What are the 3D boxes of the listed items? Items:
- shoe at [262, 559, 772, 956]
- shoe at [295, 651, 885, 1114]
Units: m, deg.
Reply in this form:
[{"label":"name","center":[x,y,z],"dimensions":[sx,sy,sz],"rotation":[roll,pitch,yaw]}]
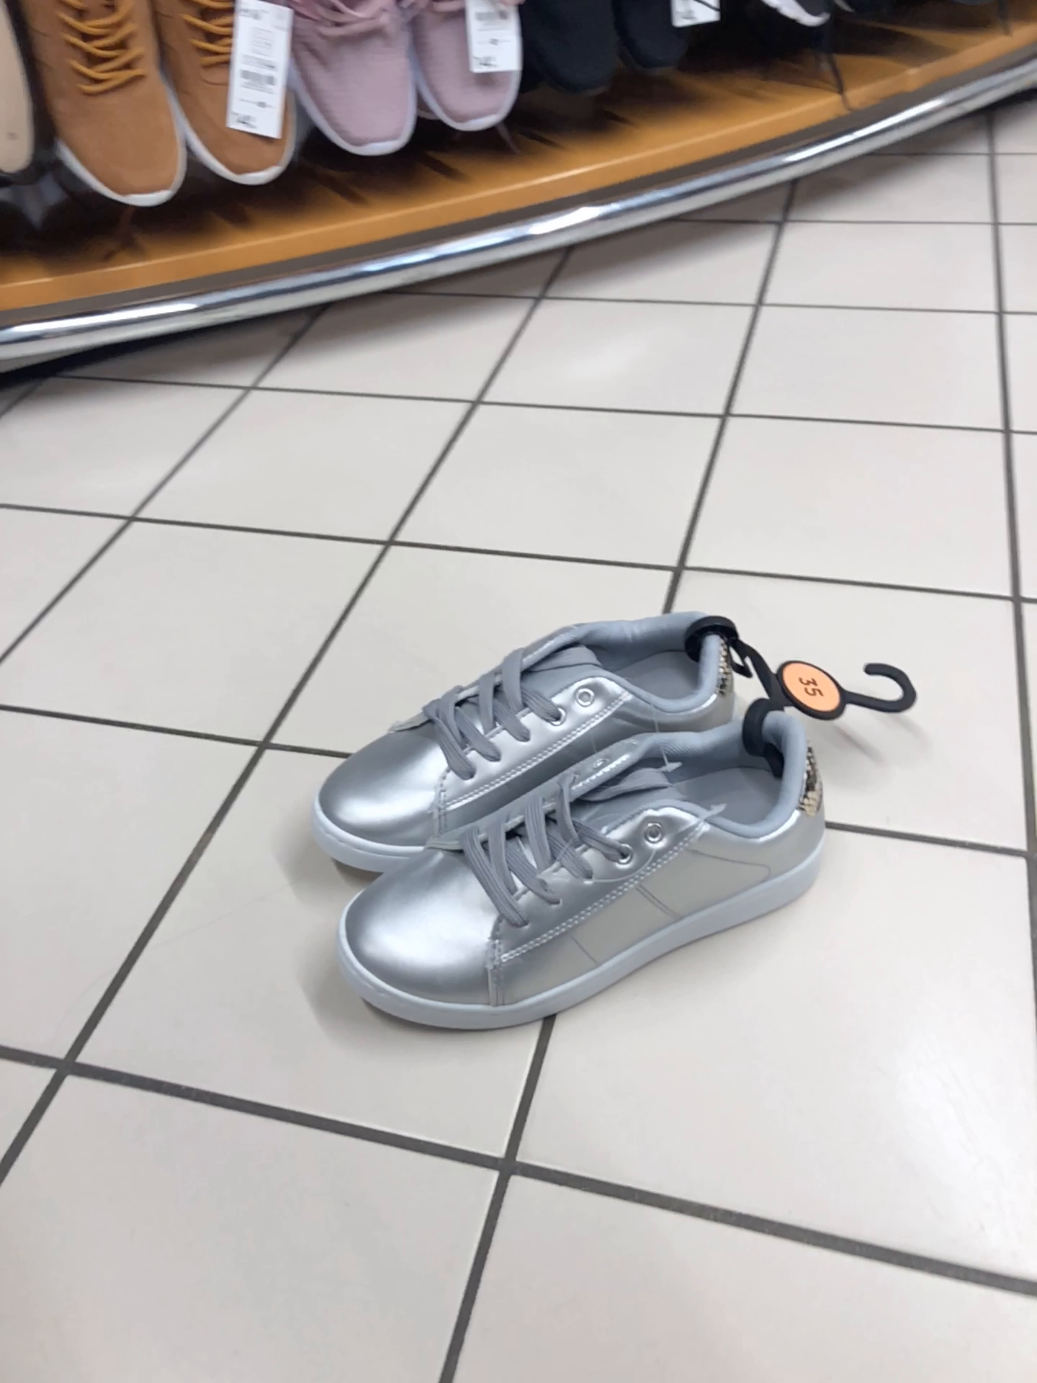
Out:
[{"label":"shoe","center":[0.003,0.027,0.578],"dimensions":[0.231,0.089,0.090],"rotation":[-21,43,-16]},{"label":"shoe","center":[0.033,0.078,0.506],"dimensions":[0.231,0.089,0.090],"rotation":[-20,43,-15]}]
